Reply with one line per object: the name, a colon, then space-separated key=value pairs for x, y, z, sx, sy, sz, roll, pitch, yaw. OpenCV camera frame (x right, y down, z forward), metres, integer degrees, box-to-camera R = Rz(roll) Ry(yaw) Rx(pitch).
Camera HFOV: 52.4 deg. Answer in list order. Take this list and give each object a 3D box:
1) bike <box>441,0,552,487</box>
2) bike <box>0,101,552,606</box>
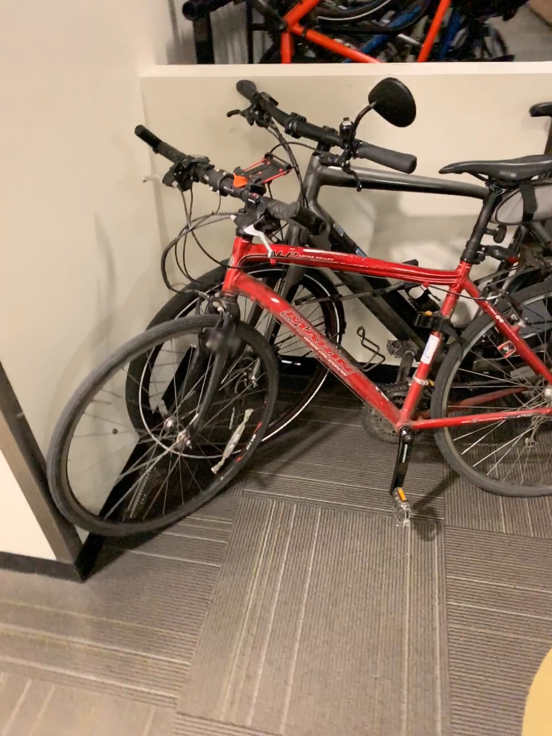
bike: x=0.982 y=-0.313 z=1.603 sx=0.726 sy=1.149 sz=0.696 roll=-4 pitch=38 yaw=-9
bike: x=0.288 y=-0.083 z=1.388 sx=1.611 sy=0.927 sz=0.606 roll=-6 pitch=39 yaw=-10
